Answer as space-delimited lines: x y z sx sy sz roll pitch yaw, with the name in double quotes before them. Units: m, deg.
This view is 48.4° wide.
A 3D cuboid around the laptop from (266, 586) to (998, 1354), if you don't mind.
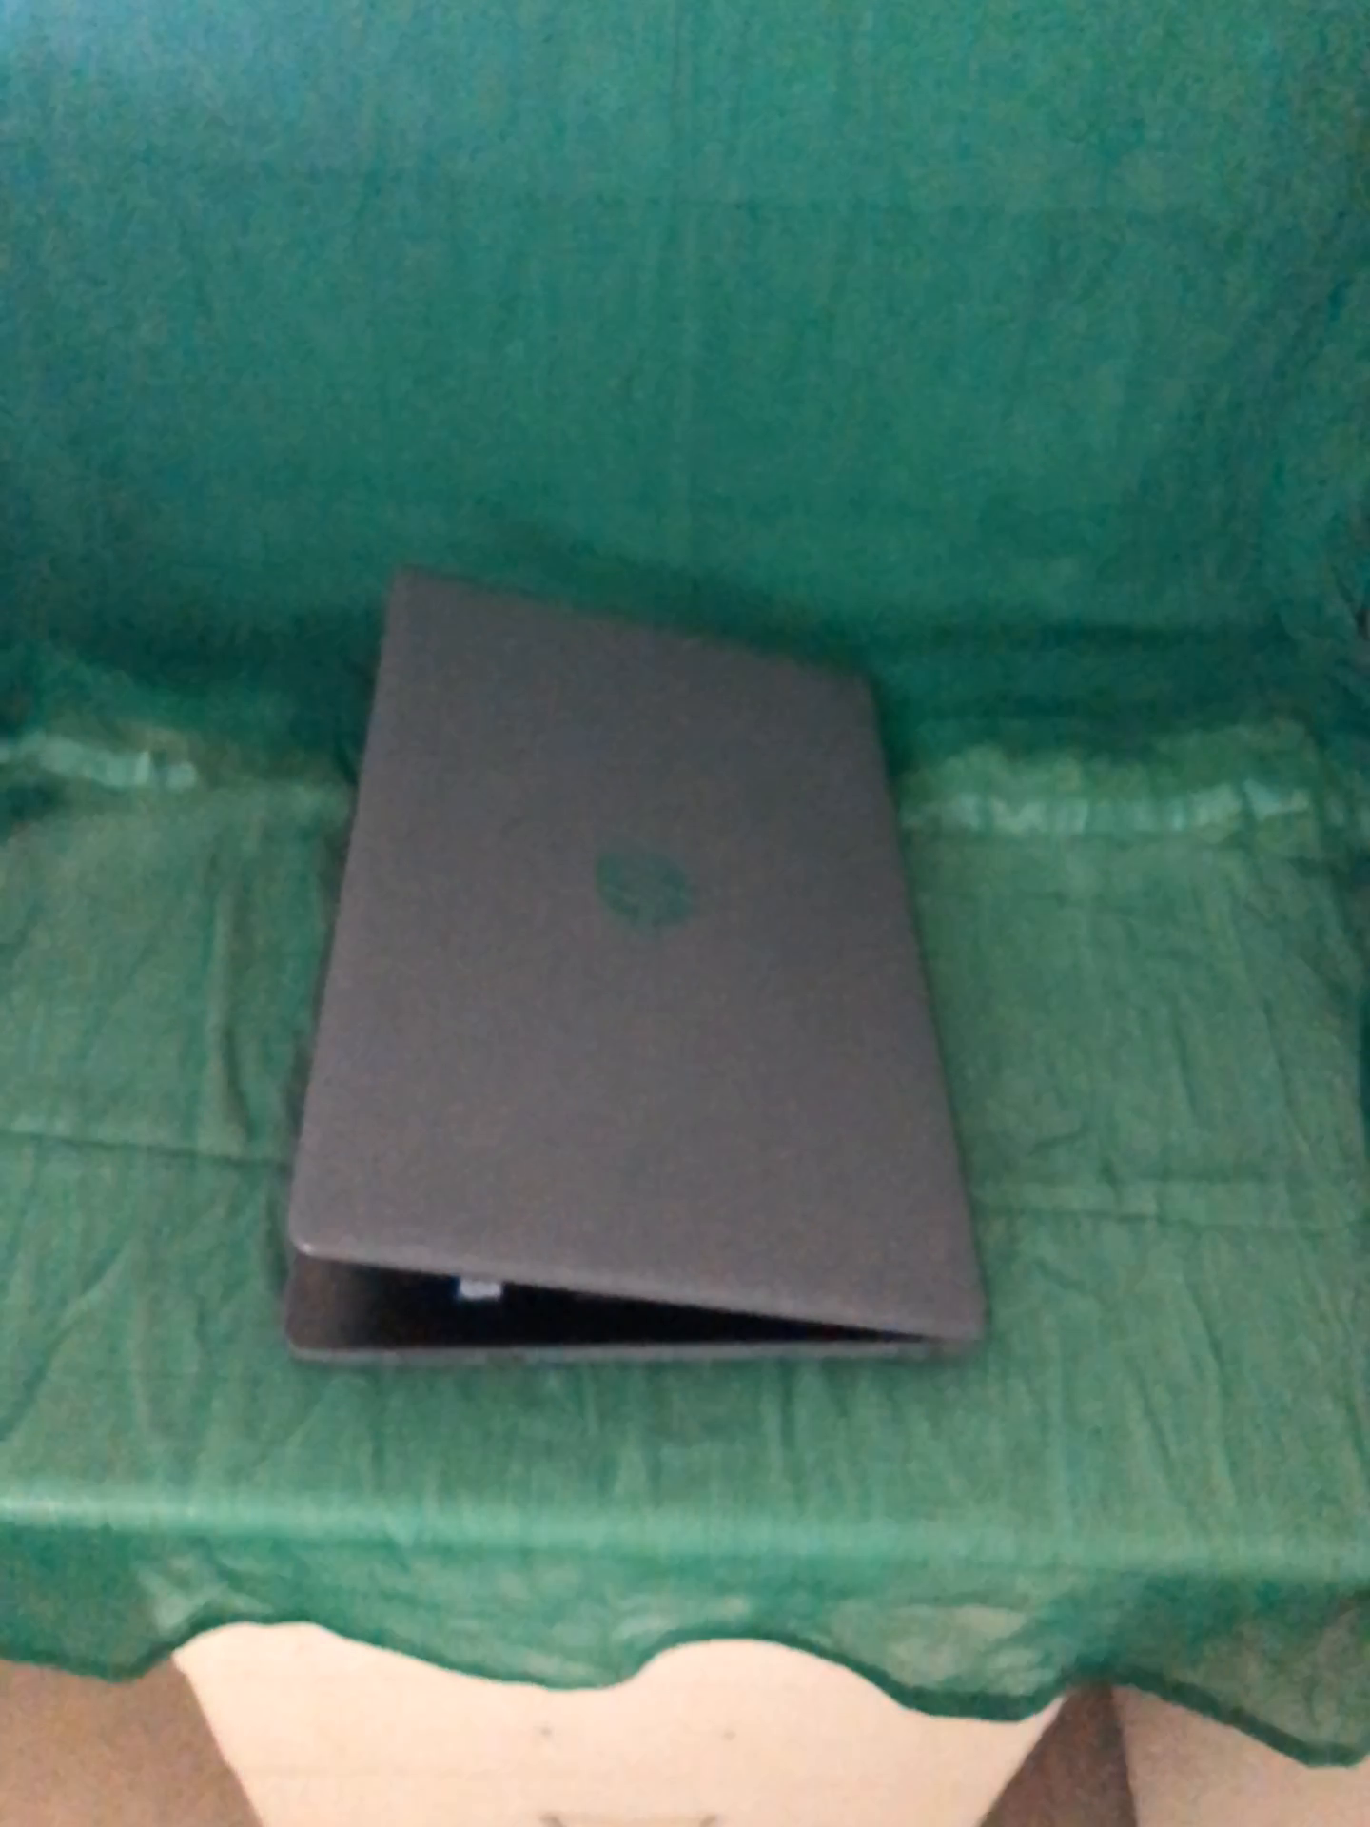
"laptop" -0.021 -0.001 0.630 0.231 0.066 0.361 1 46 -2
